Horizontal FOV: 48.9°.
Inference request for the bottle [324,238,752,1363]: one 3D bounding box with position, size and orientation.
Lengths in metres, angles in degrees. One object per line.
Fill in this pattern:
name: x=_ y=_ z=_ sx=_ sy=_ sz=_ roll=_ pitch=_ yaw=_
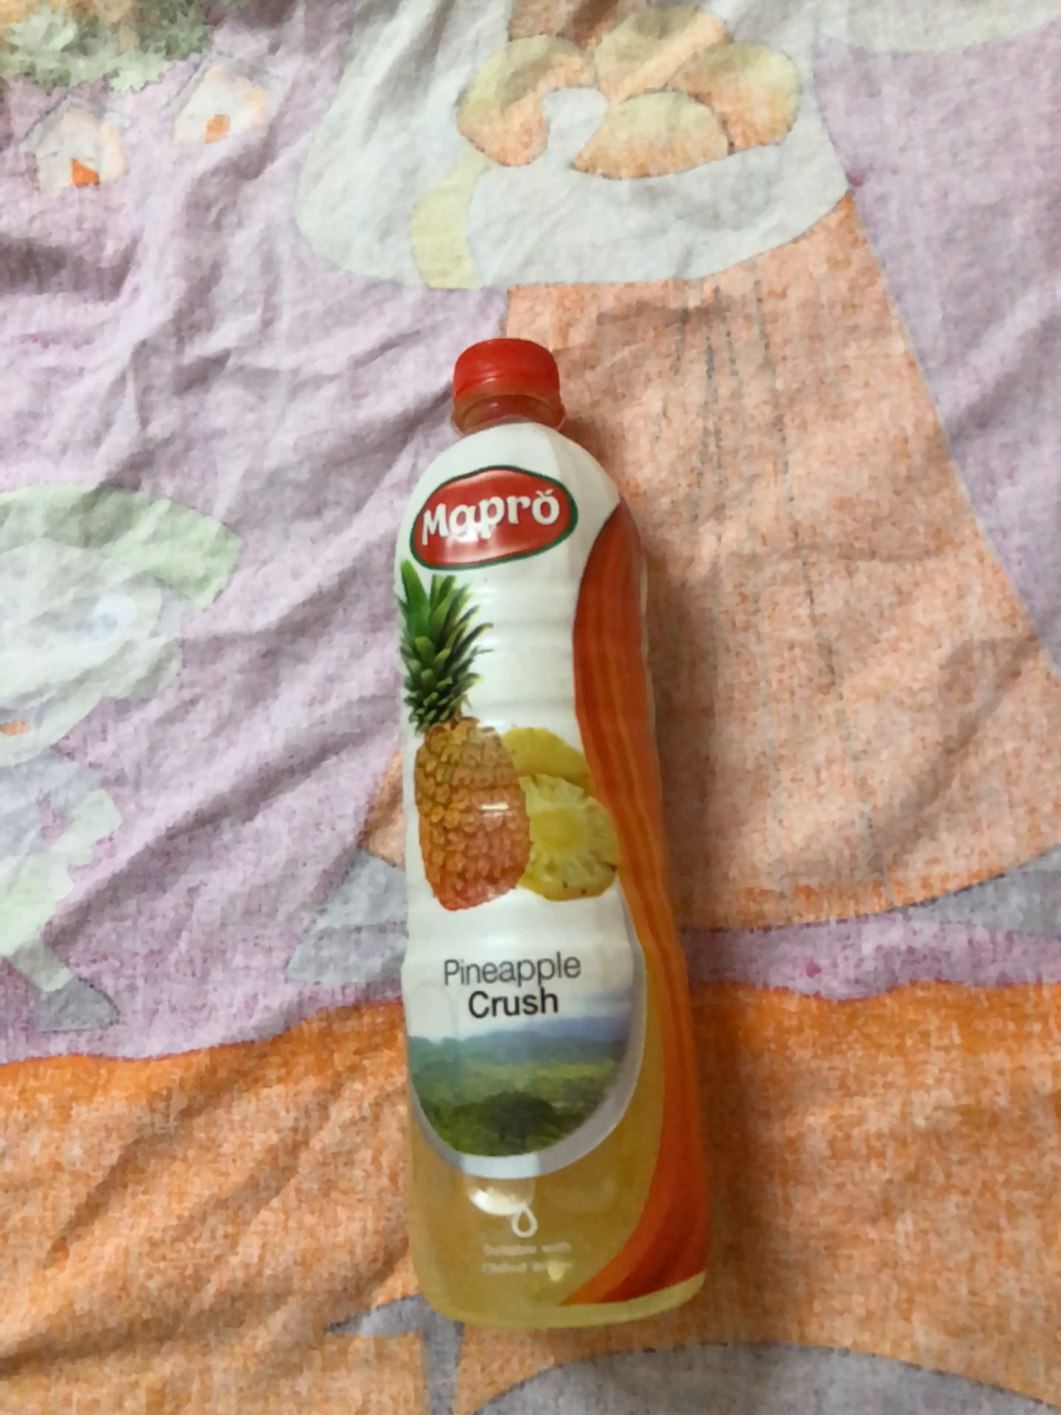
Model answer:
bottle: x=0.001 y=0.018 z=0.295 sx=0.080 sy=0.060 sz=0.250 roll=-7 pitch=78 yaw=12
